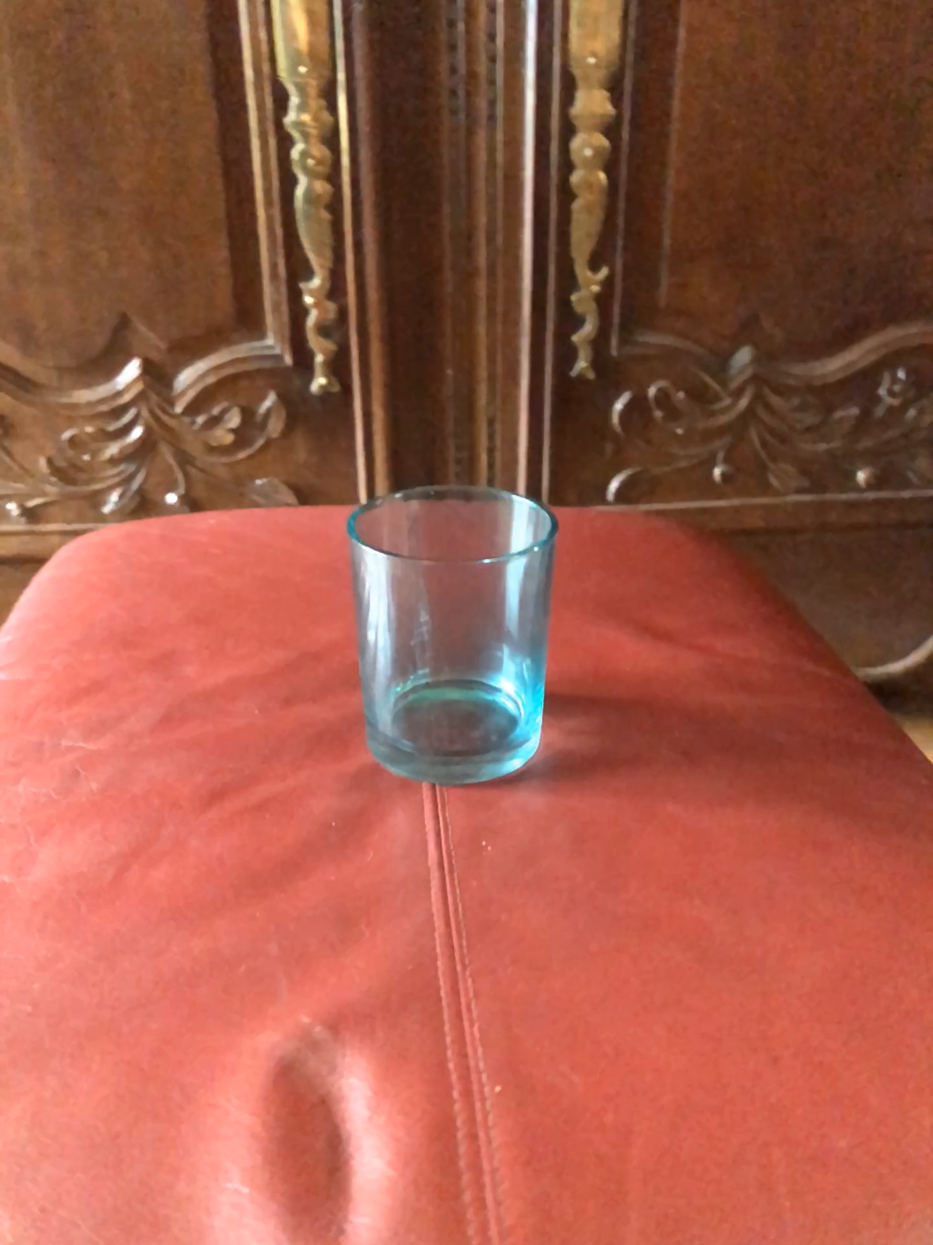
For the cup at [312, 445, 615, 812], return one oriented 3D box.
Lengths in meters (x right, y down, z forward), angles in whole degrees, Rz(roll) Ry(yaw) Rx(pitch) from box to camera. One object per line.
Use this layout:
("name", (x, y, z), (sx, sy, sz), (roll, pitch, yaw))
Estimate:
("cup", (-0.001, -0.002, 0.354), (0.070, 0.089, 0.070), (0, 28, 0))
